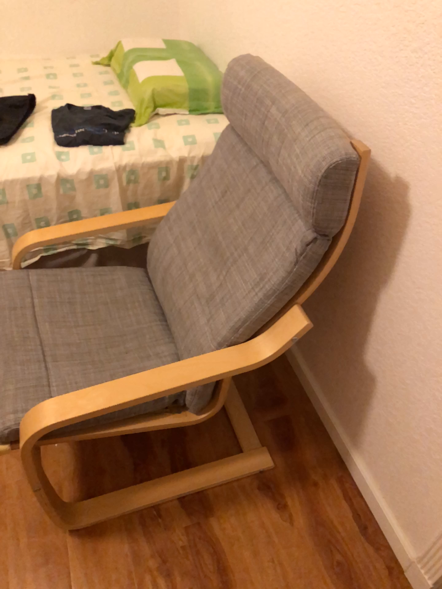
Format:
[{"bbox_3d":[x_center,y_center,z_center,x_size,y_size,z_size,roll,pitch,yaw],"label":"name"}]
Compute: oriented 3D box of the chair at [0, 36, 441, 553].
[{"bbox_3d":[-0.165,-0.019,1.167,0.800,0.885,0.683,-11,44,-14],"label":"chair"}]
